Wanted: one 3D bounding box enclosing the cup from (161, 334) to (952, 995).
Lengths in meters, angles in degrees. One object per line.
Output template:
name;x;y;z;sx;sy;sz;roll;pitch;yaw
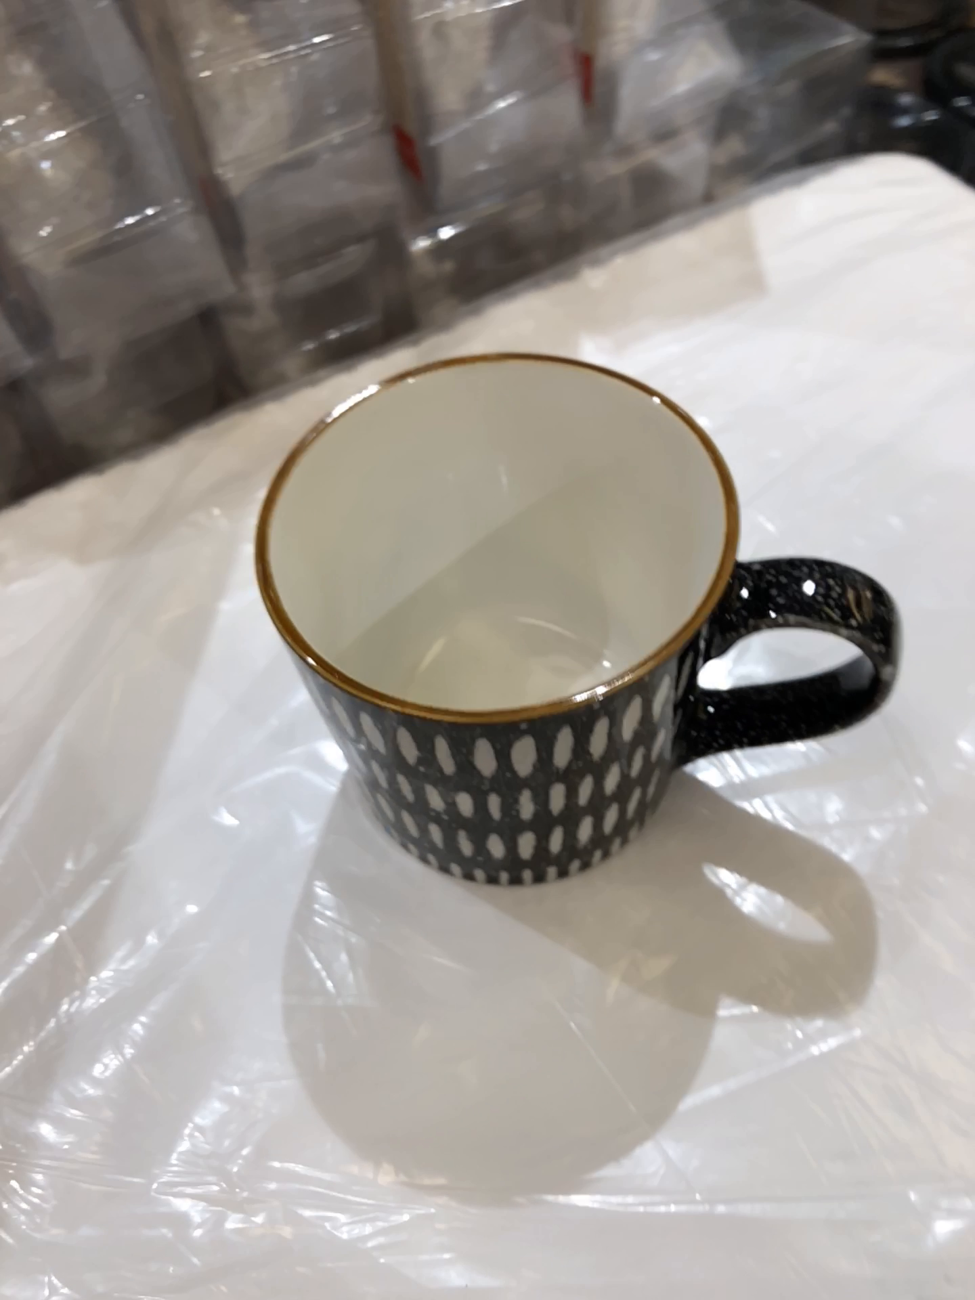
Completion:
cup;0.017;0.003;0.207;0.110;0.080;0.080;7;55;10
